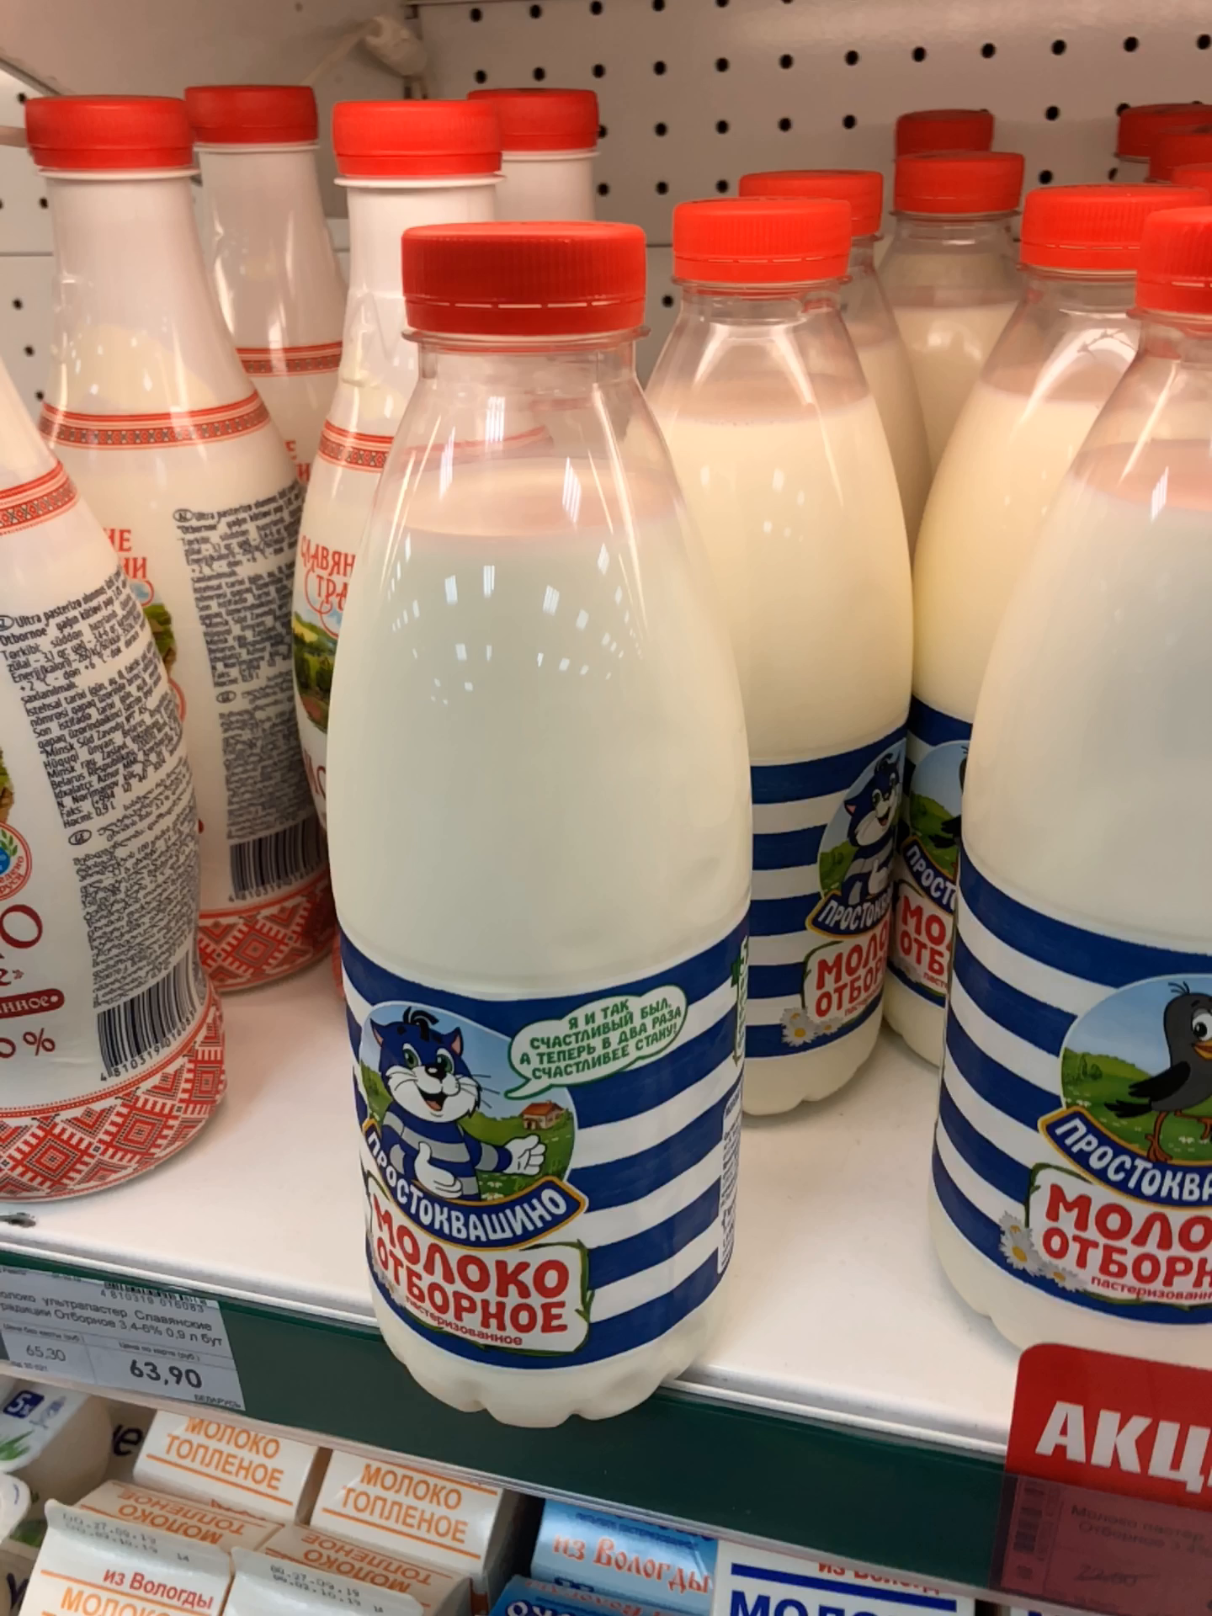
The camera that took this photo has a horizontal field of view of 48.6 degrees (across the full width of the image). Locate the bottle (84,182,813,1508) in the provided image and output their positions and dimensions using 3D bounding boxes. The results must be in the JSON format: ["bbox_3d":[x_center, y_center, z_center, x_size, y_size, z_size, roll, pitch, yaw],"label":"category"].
[{"bbox_3d":[-0.021,0.006,0.262,0.090,0.228,0.080,10,24,24],"label":"bottle"}]
